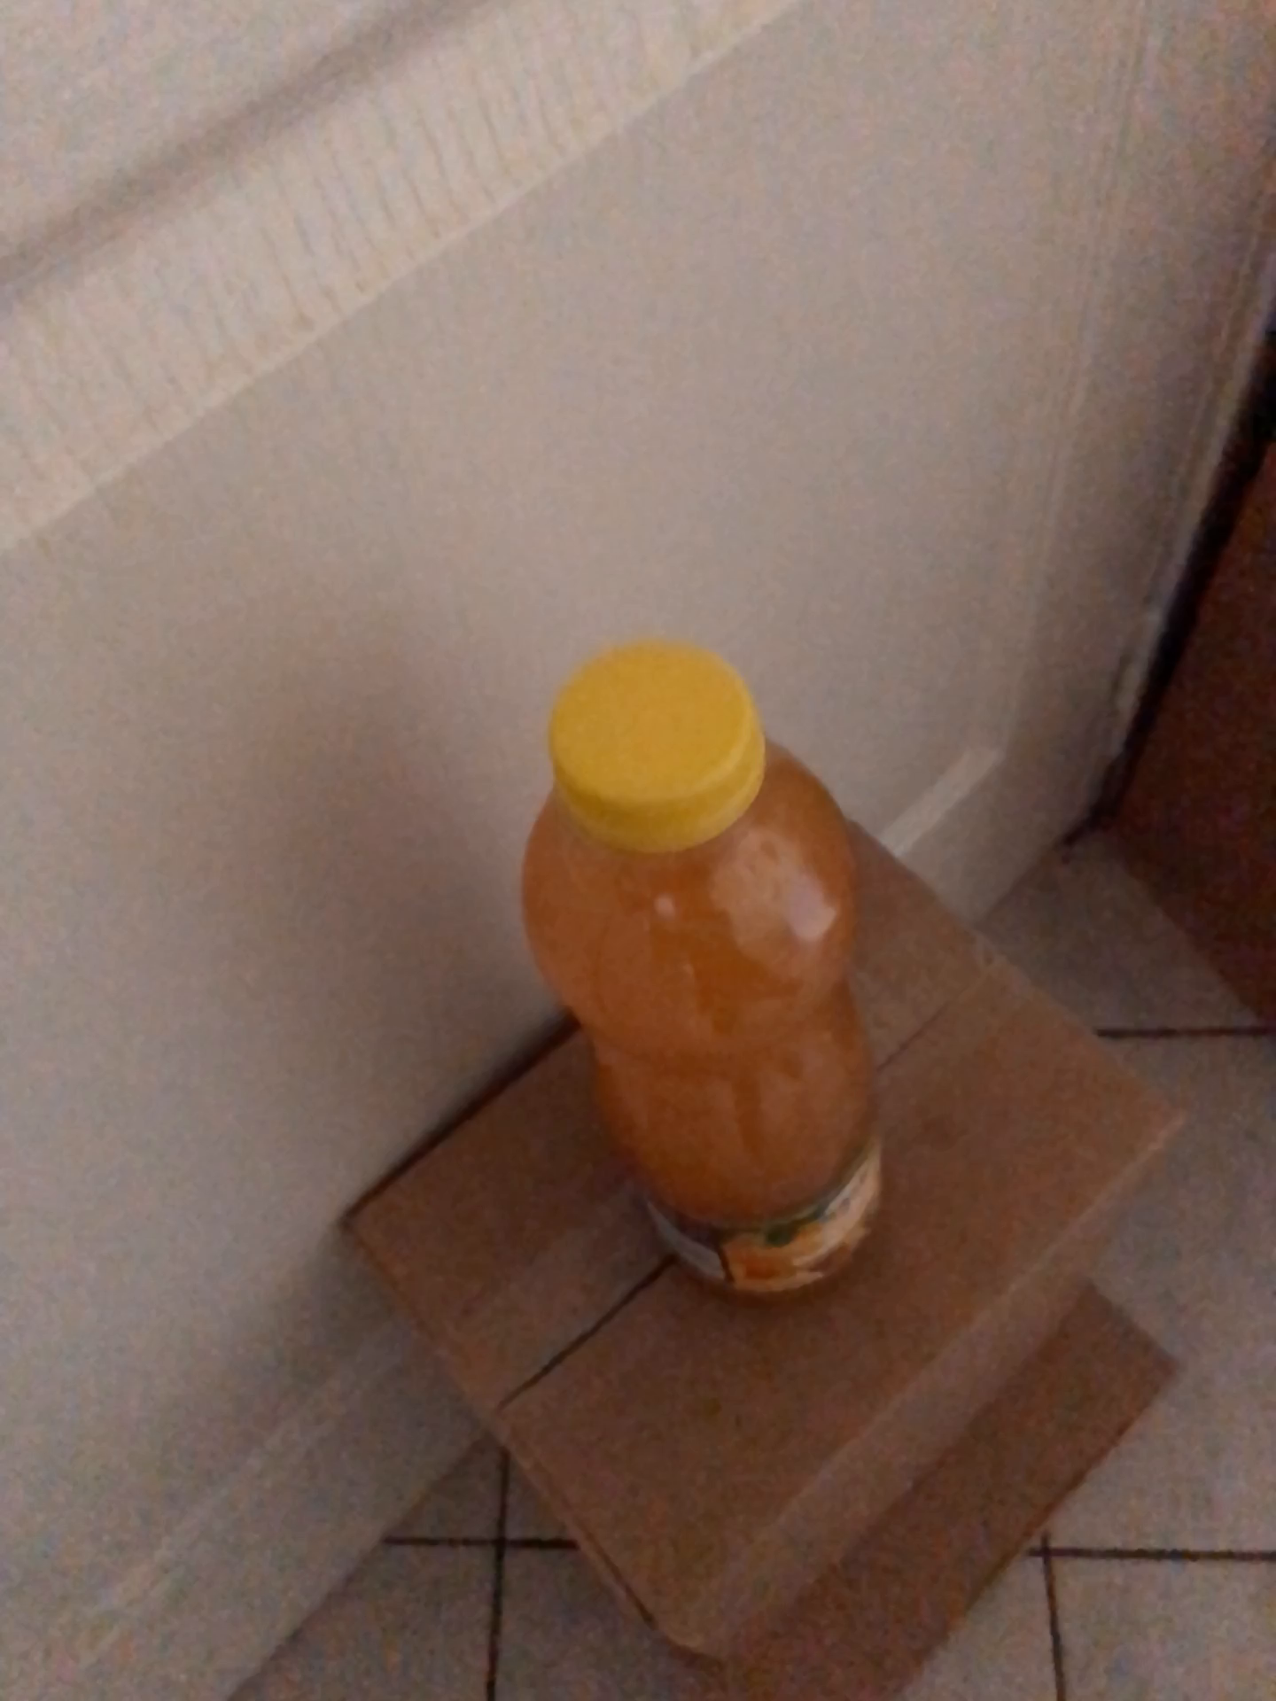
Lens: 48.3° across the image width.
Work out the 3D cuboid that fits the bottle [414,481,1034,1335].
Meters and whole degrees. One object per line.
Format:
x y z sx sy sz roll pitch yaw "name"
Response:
0.029 0.043 0.377 0.080 0.279 0.080 -3 60 5 "bottle"
